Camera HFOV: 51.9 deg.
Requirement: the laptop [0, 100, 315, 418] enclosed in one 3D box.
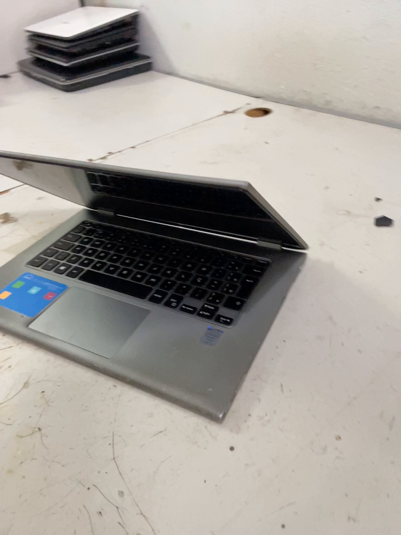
[{"bbox_3d":[-0.088,-0.046,0.400,0.327,0.155,0.219,13,42,26],"label":"laptop"}]
